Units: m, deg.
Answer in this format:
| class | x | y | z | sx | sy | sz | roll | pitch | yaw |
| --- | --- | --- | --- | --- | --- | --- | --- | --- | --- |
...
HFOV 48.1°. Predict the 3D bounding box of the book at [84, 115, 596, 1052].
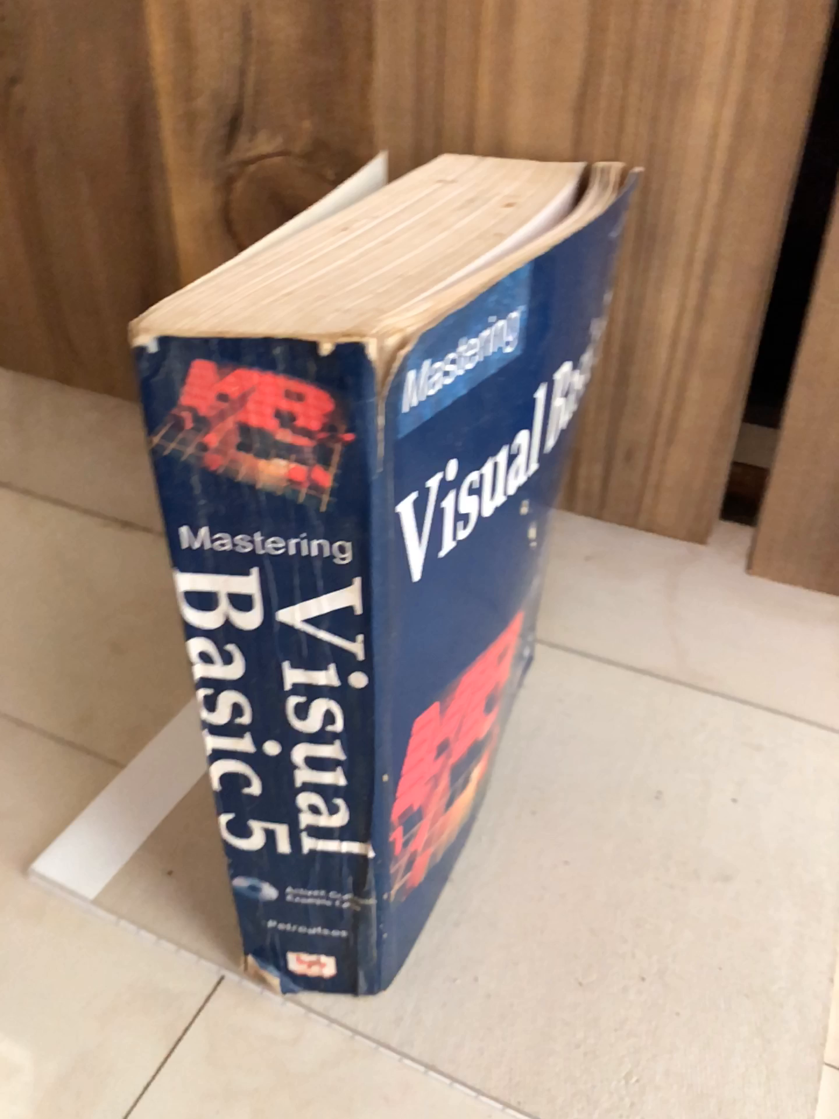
| class | x | y | z | sx | sy | sz | roll | pitch | yaw |
| --- | --- | --- | --- | --- | --- | --- | --- | --- | --- |
| book | 0.001 | -0.003 | 0.331 | 0.060 | 0.249 | 0.211 | 11 | 36 | 18 |
